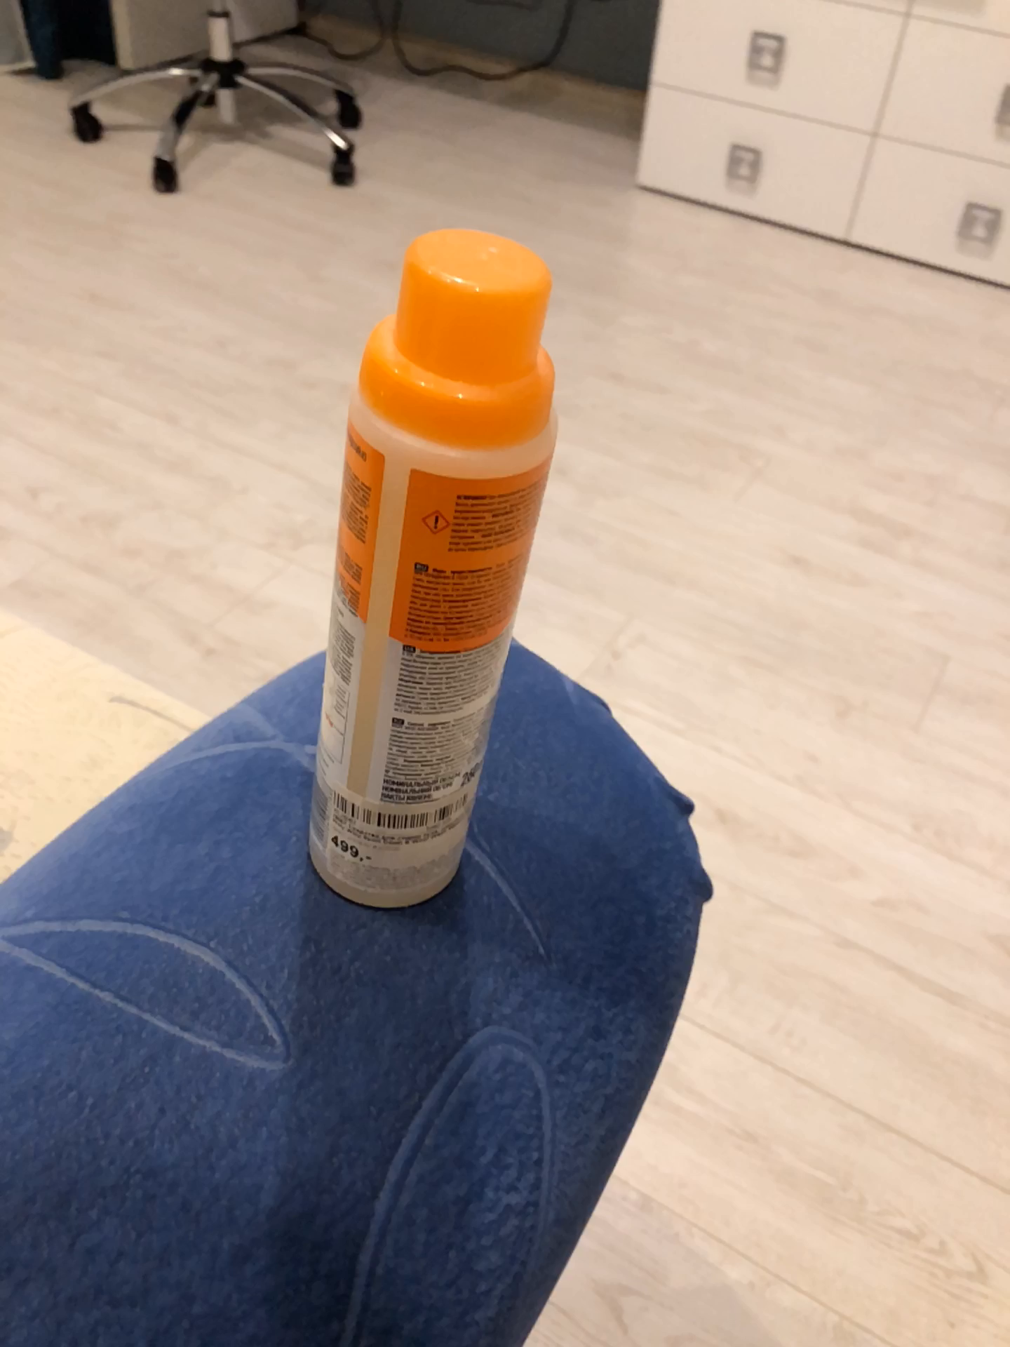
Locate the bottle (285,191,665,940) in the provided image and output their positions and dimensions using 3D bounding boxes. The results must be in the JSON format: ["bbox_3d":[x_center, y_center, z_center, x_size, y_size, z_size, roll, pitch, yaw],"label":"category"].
[{"bbox_3d":[-0.015,-0.017,0.293,0.052,0.188,0.052,9,39,-7],"label":"bottle"}]
